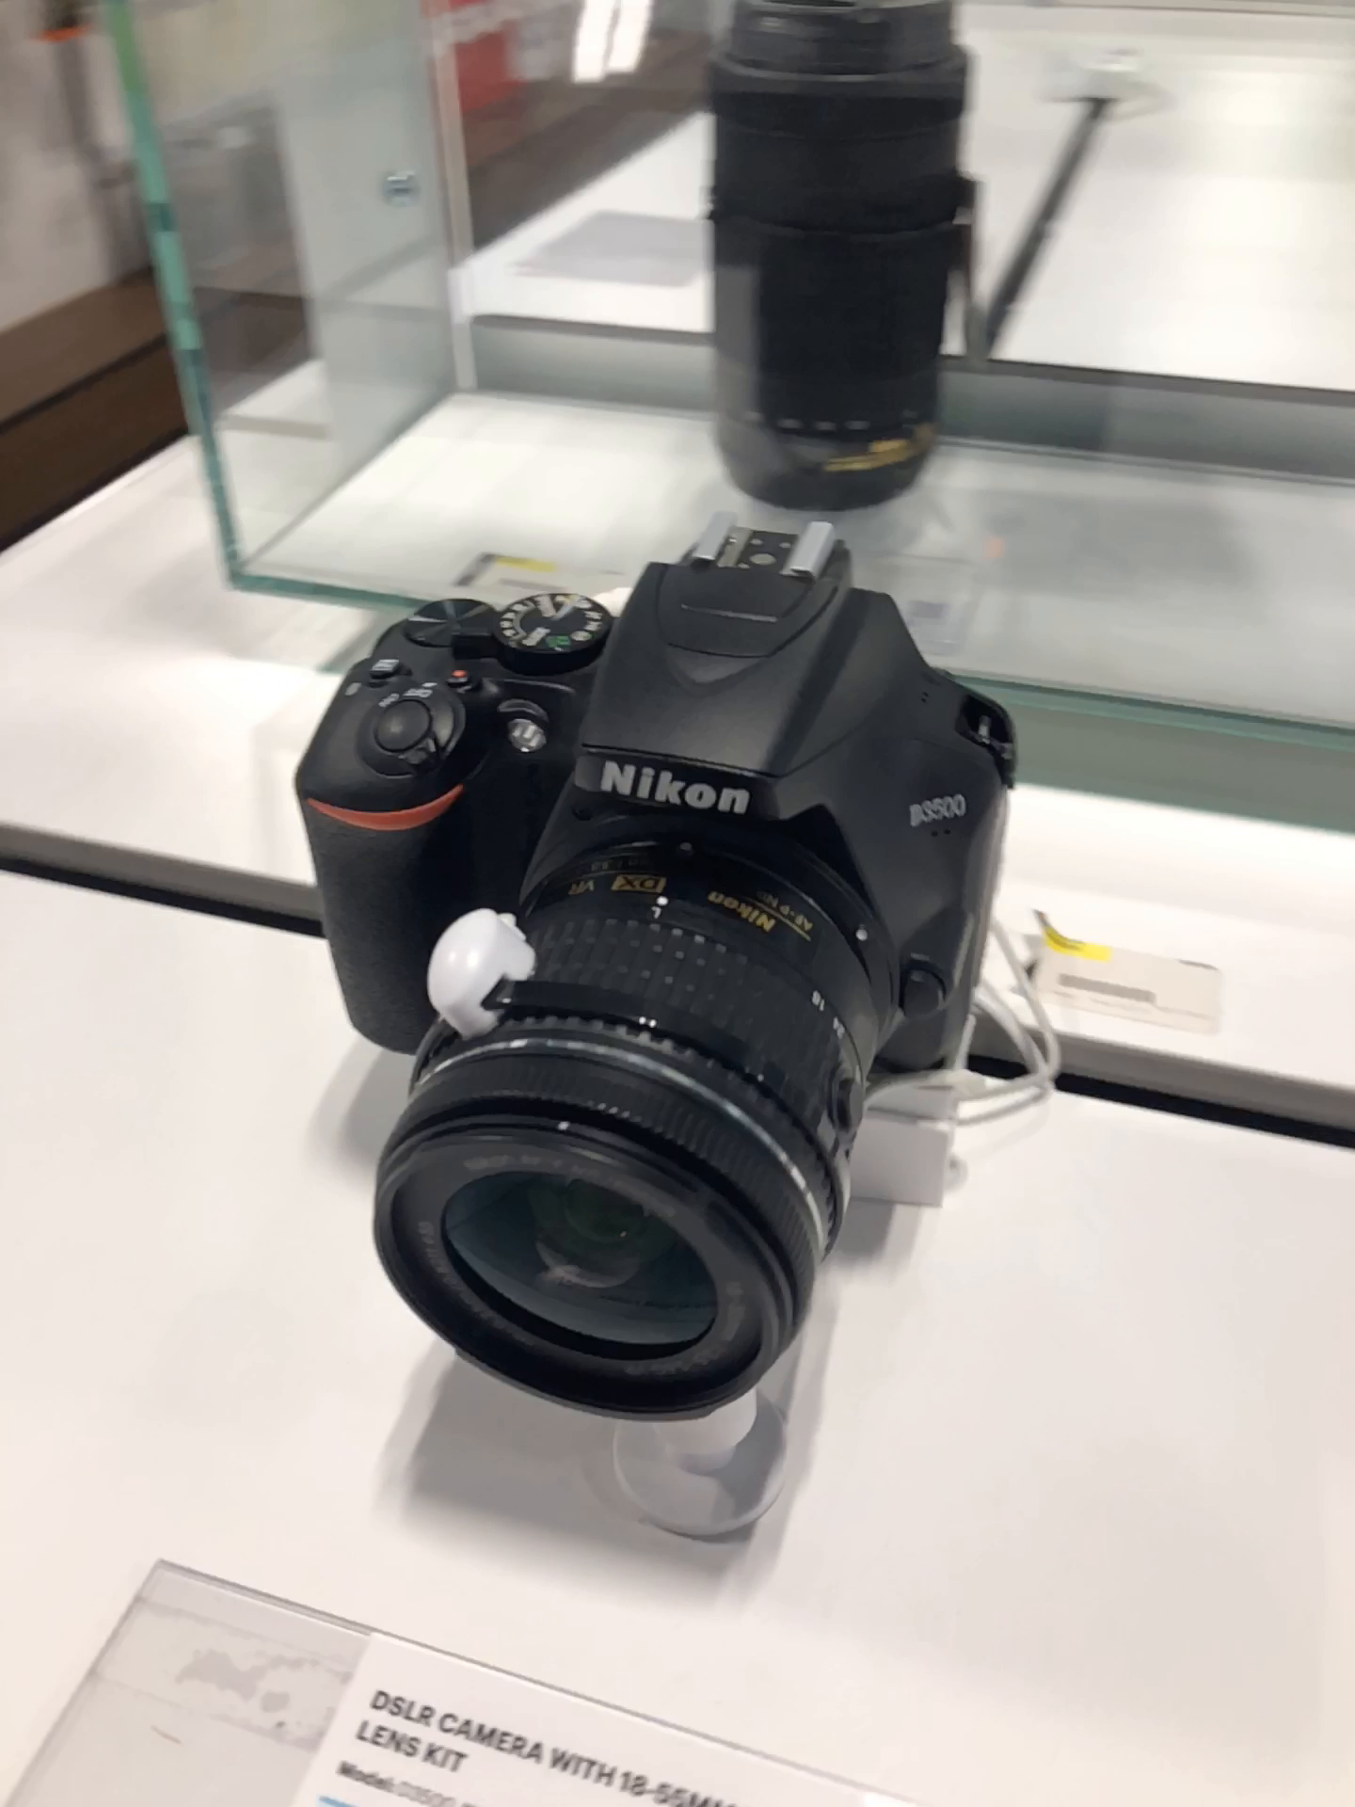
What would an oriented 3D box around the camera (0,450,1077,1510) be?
[{"bbox_3d":[-0.012,-0.001,0.242,0.131,0.089,0.131,8,38,13],"label":"camera"}]
